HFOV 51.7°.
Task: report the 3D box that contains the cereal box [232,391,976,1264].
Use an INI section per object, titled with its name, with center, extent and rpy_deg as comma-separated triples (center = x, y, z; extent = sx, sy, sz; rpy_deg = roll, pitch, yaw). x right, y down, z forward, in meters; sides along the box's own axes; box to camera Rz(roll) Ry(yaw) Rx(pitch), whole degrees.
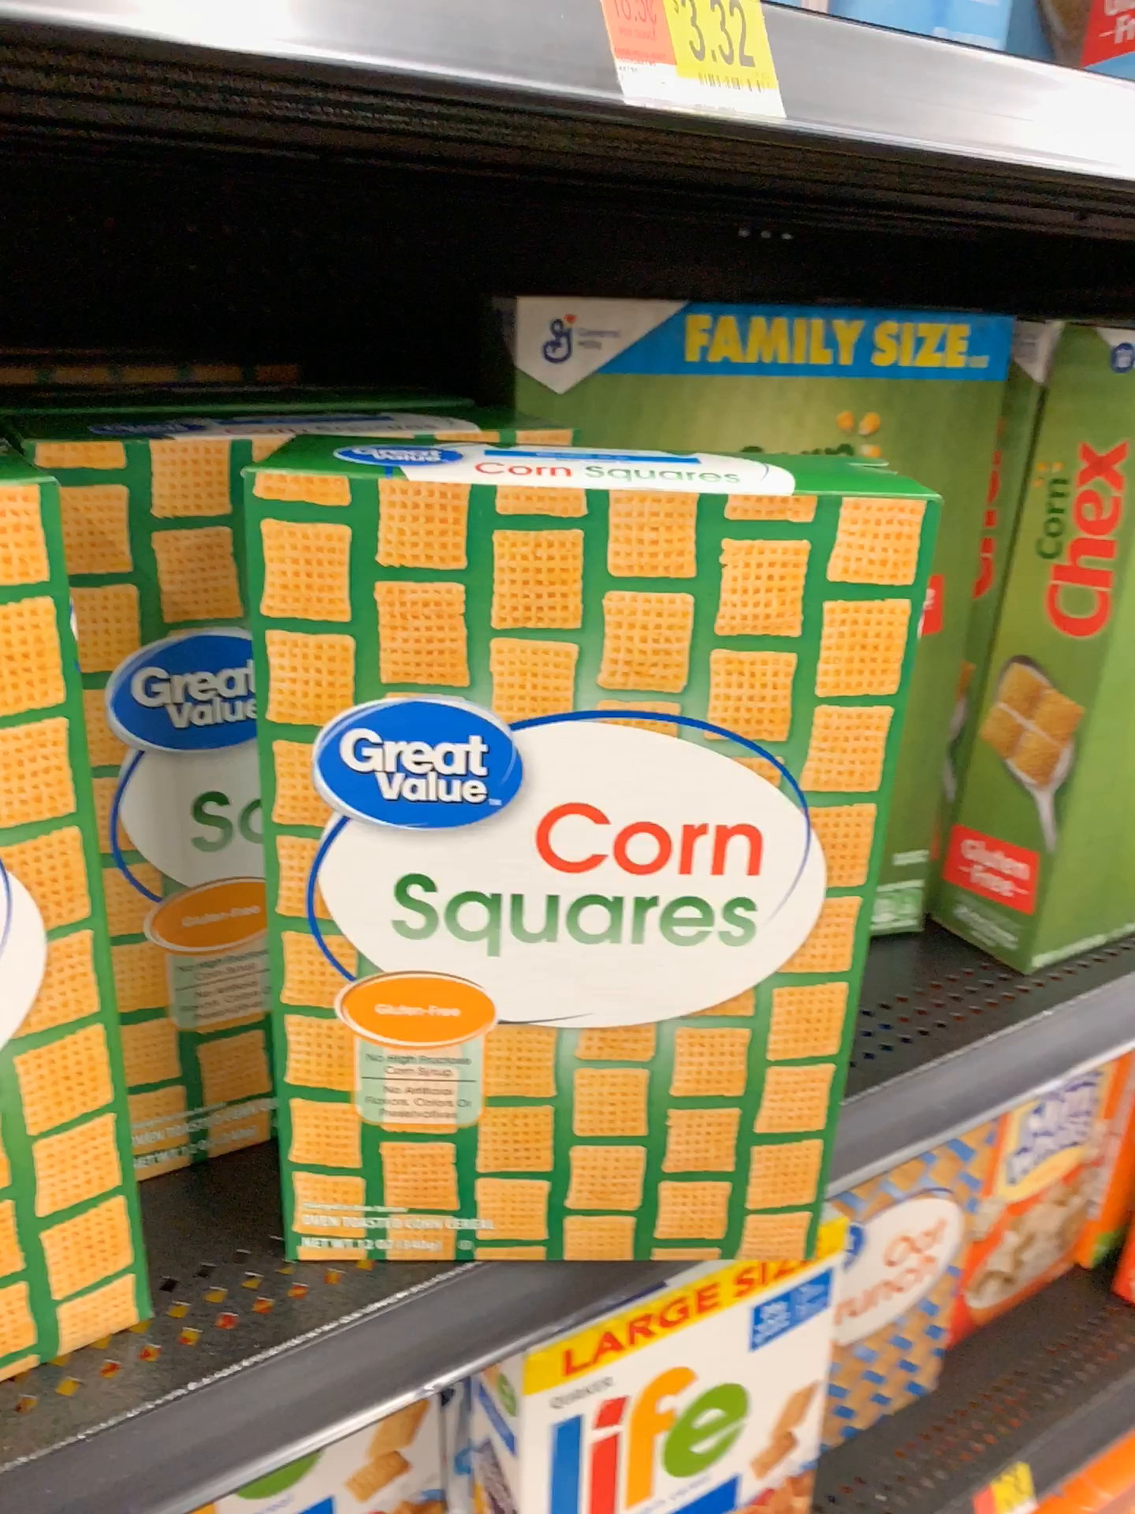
[cereal box]
center = 0.001, 0.035, 0.400
extent = 0.200, 0.289, 0.070
rpy_deg = 2, 22, -5
